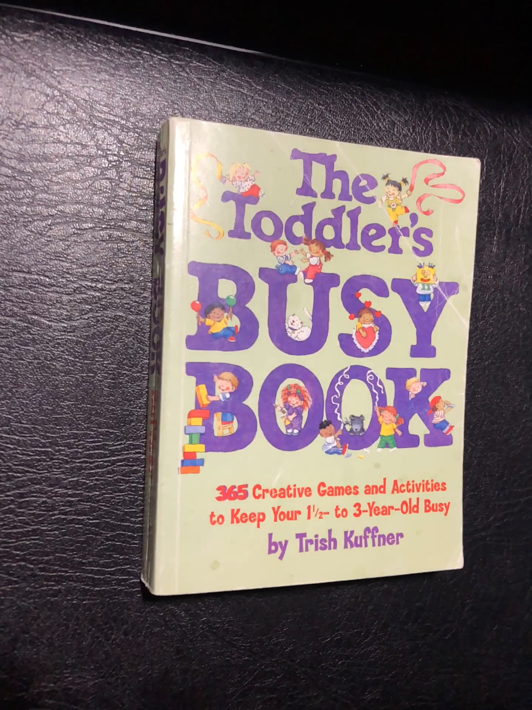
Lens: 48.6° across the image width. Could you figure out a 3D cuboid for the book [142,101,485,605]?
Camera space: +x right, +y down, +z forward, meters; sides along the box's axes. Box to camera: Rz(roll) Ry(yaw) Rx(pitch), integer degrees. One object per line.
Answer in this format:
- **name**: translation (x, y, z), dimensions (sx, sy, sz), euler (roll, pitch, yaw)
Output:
- **book**: translation (0.022, 0.000, 0.242), dimensions (0.136, 0.033, 0.176), euler (2, 88, -18)
